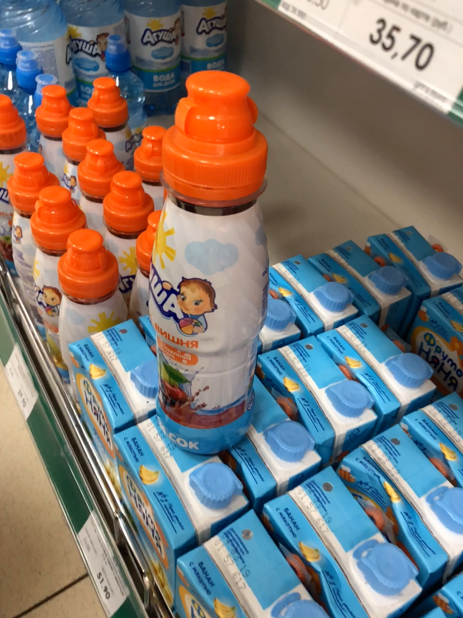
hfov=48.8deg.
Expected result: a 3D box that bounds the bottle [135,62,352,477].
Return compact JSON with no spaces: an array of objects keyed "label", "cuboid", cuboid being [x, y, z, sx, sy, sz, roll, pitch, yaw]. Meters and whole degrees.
[{"label":"bottle","cuboid":[-0.006,-0.005,0.243,0.056,0.190,0.054,4,41,-4]}]
